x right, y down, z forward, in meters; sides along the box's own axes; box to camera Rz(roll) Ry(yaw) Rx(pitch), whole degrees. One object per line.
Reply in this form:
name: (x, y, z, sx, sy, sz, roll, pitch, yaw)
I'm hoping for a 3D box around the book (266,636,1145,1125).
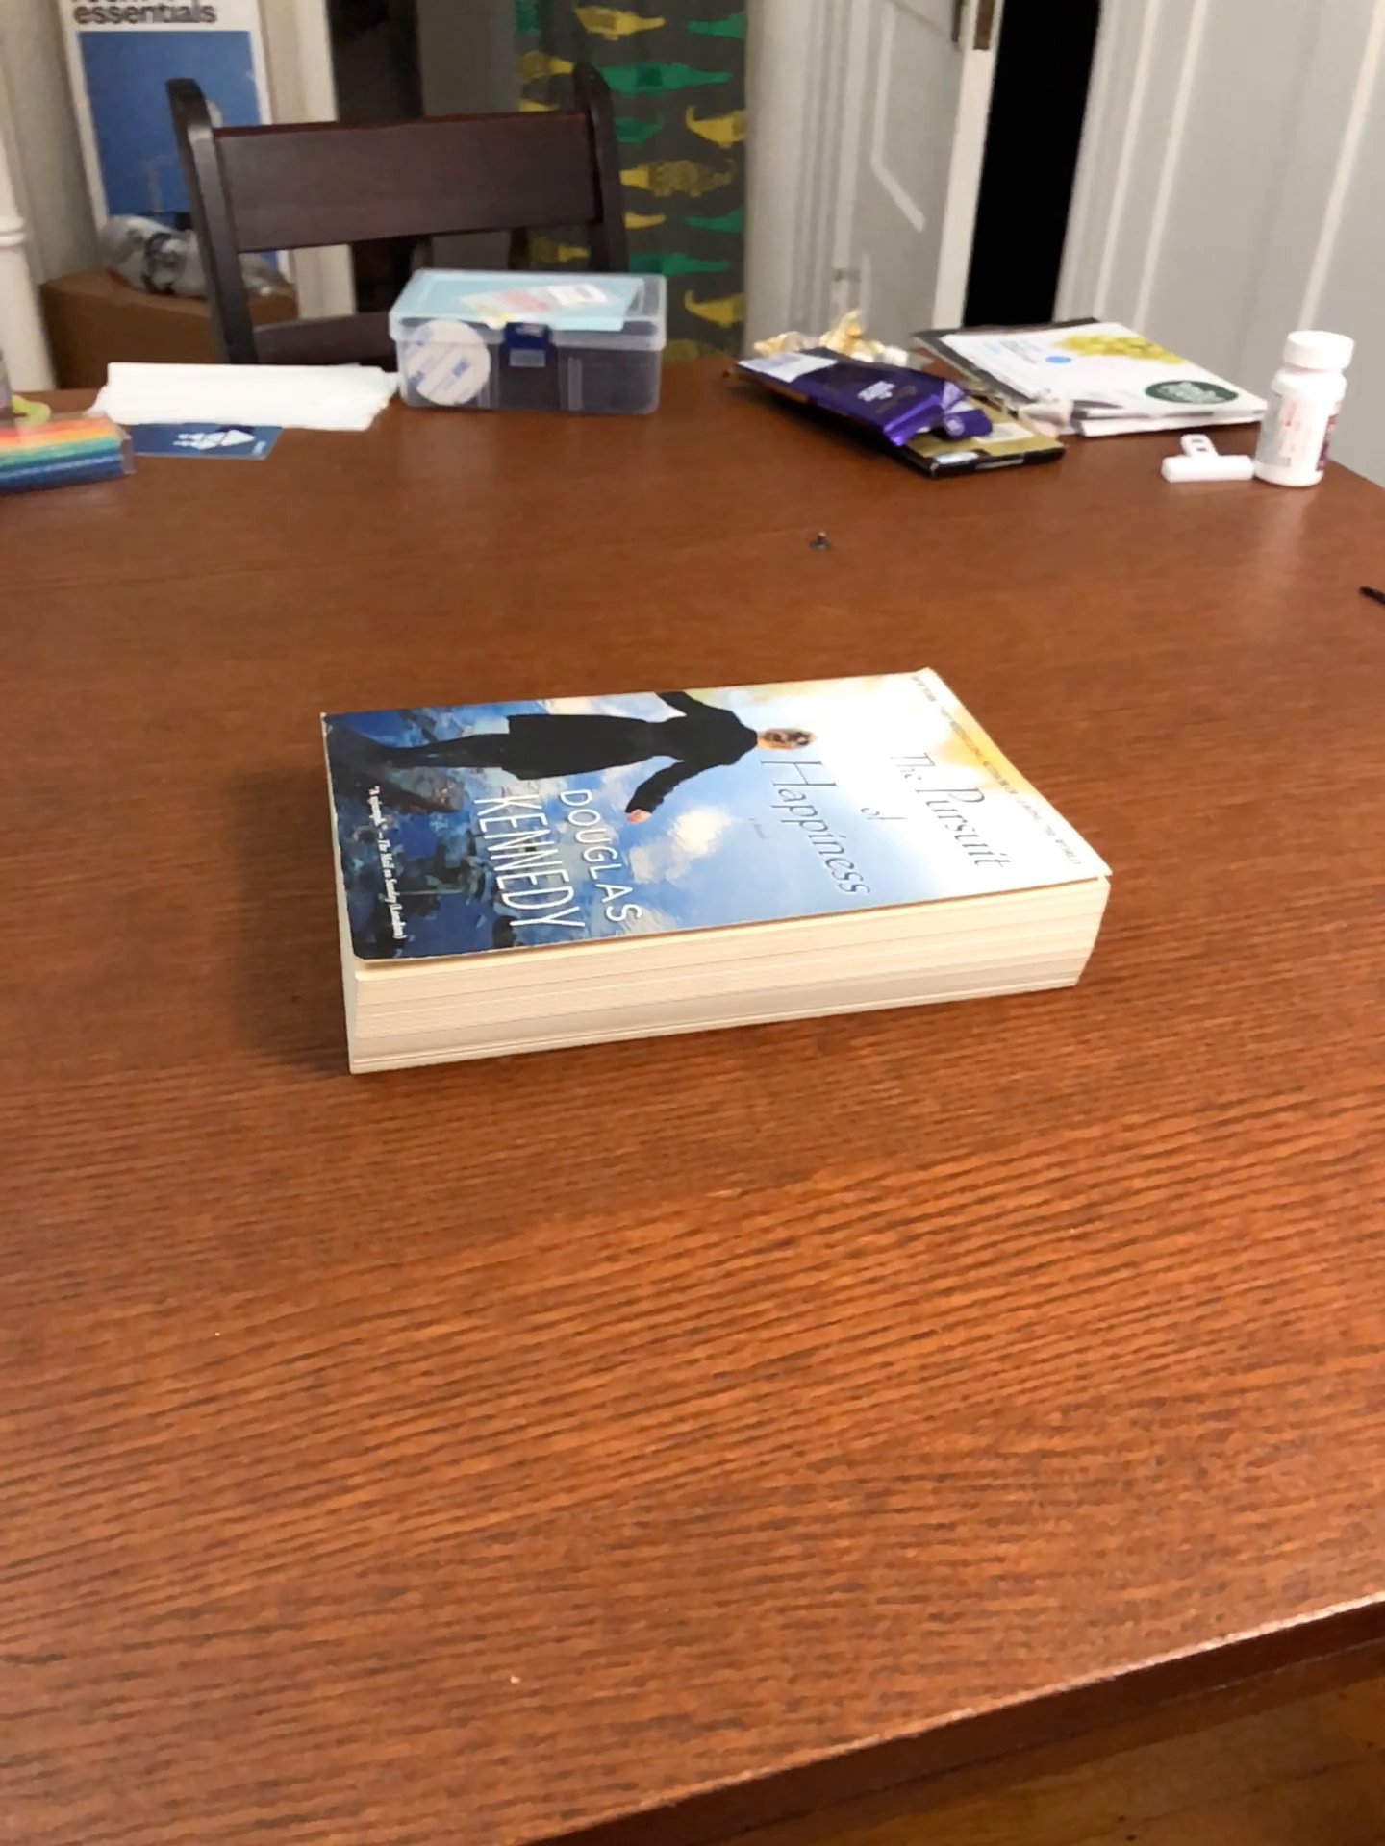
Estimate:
book: (-0.007, -0.025, 0.487, 0.240, 0.050, 0.161, -7, 37, -12)
